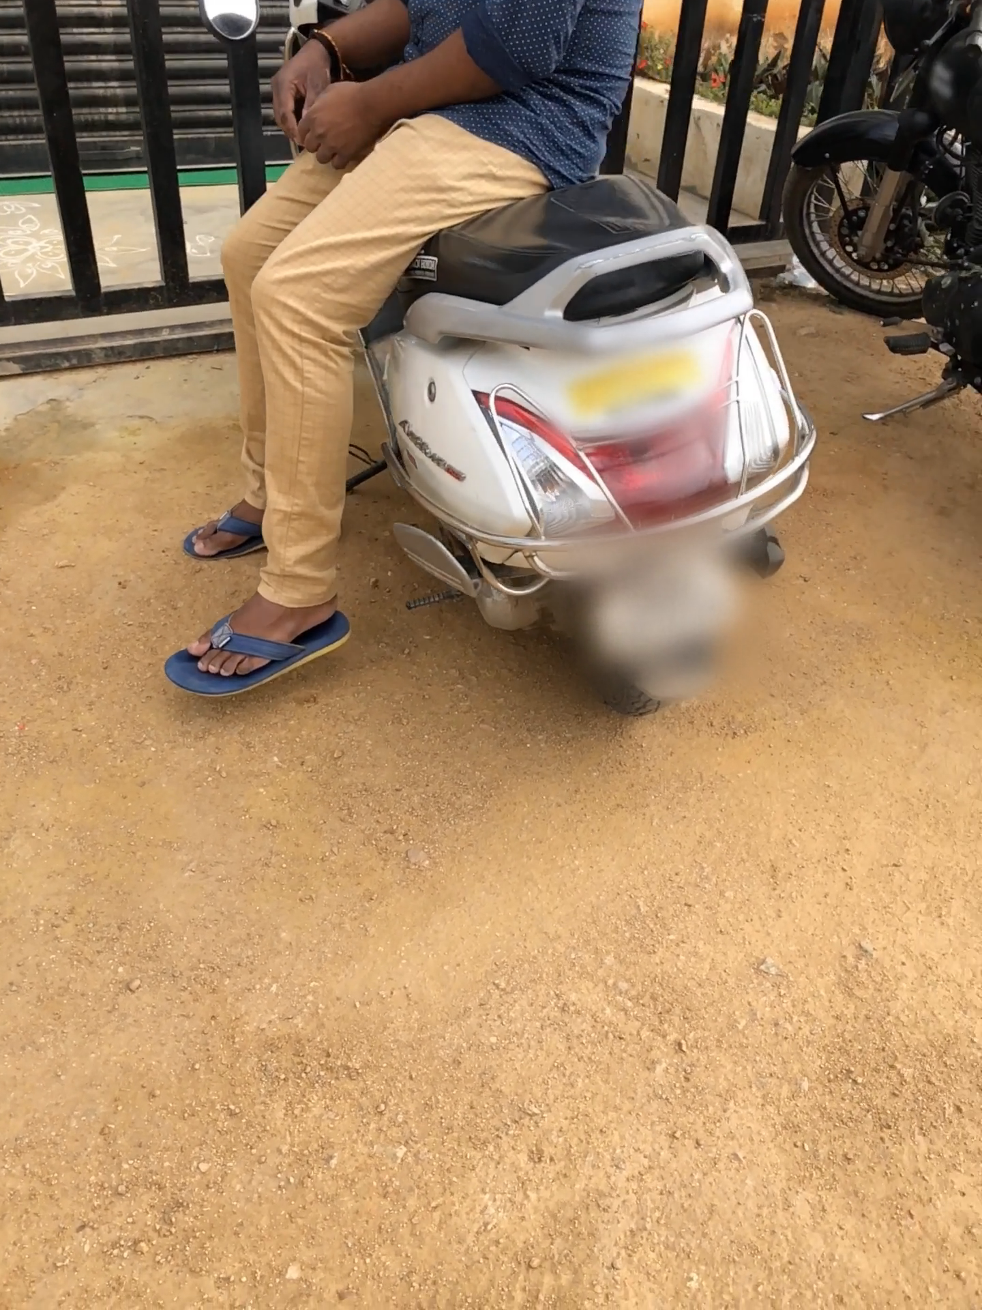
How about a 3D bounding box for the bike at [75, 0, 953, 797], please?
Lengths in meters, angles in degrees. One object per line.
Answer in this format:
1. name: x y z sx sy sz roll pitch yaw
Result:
1. bike: -0.190 -0.767 1.908 0.652 1.068 1.651 -12 41 -20
